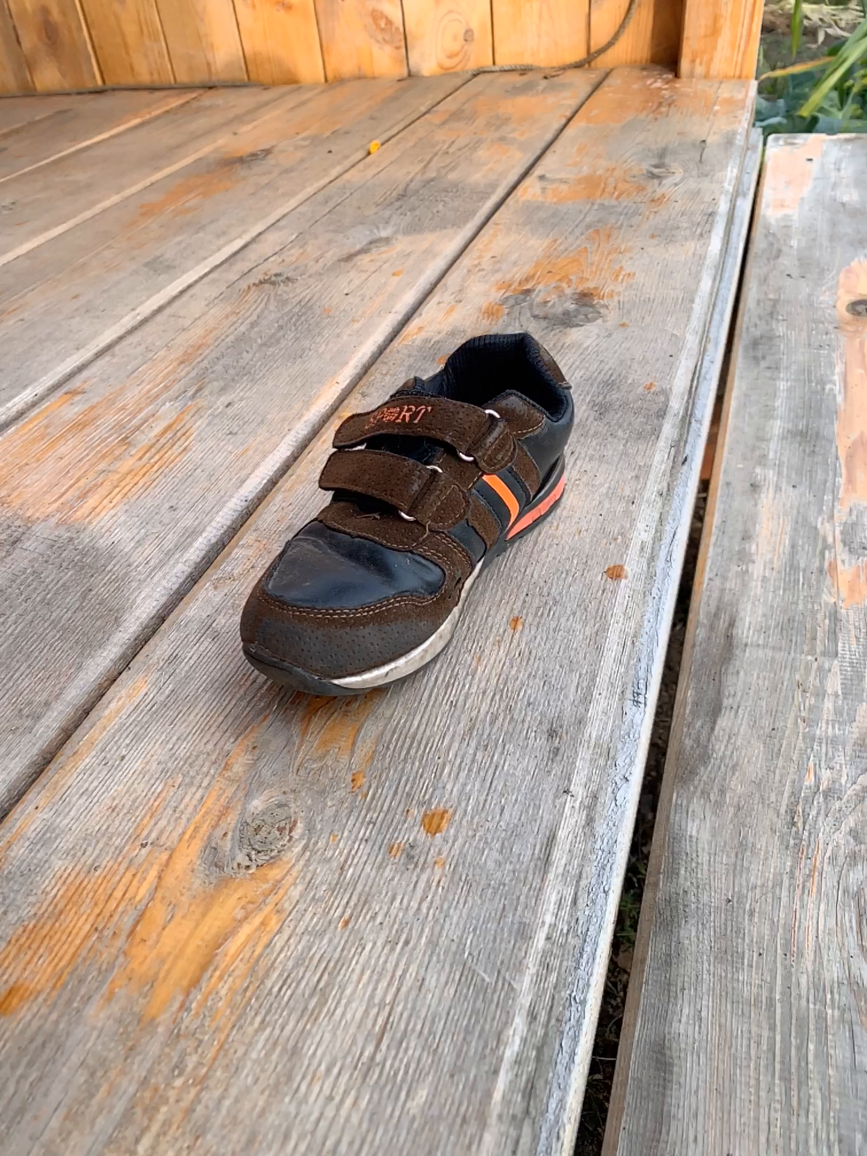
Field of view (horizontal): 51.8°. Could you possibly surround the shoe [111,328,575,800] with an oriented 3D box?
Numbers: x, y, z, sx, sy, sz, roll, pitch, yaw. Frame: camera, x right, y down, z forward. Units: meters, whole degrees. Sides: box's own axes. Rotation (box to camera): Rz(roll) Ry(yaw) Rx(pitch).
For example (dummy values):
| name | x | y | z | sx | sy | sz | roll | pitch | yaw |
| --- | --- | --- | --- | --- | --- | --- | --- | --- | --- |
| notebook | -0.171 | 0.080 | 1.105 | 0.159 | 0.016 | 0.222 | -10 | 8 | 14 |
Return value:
| name | x | y | z | sx | sy | sz | roll | pitch | yaw |
| --- | --- | --- | --- | --- | --- | --- | --- | --- | --- |
| shoe | -0.021 | -0.021 | 0.378 | 0.090 | 0.089 | 0.191 | 16 | 44 | 27 |
